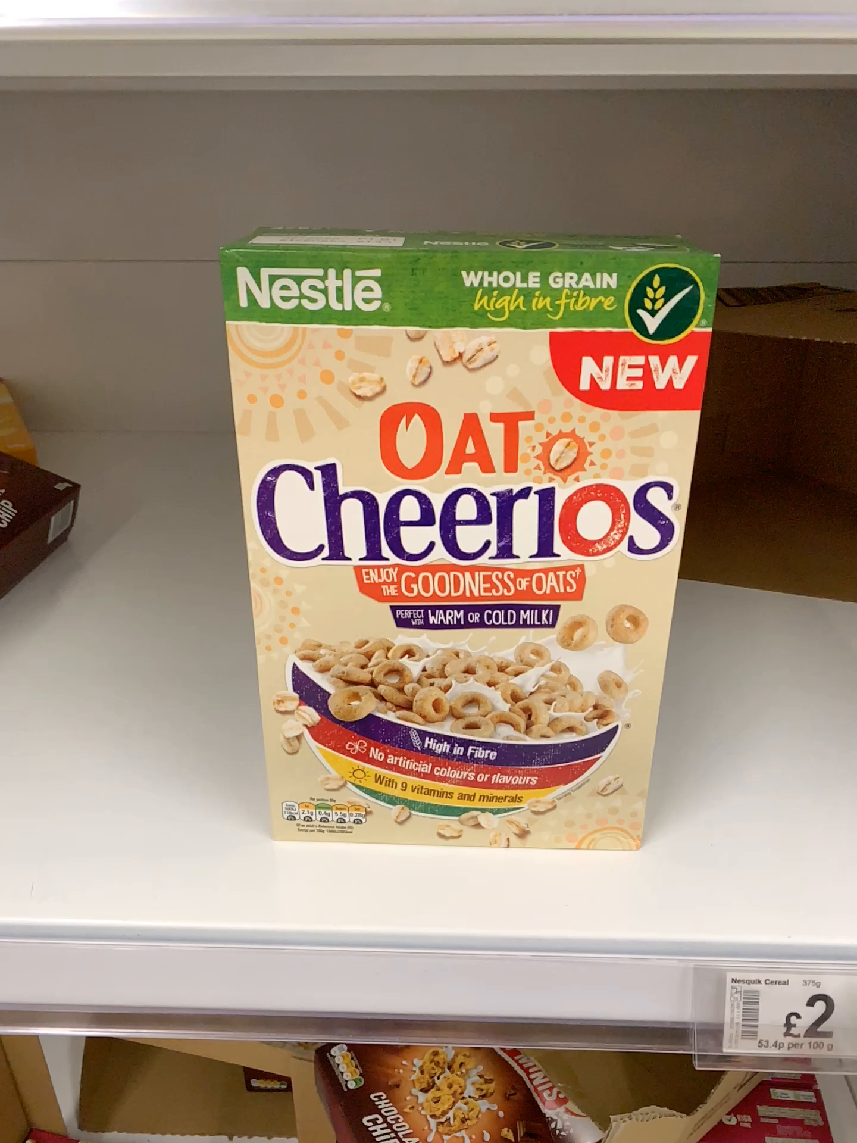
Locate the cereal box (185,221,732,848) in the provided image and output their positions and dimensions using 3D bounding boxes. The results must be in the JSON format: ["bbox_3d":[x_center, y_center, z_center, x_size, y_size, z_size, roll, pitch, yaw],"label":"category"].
[{"bbox_3d":[0.012,-0.008,0.416,0.200,0.287,0.071,1,26,3],"label":"cereal box"}]
